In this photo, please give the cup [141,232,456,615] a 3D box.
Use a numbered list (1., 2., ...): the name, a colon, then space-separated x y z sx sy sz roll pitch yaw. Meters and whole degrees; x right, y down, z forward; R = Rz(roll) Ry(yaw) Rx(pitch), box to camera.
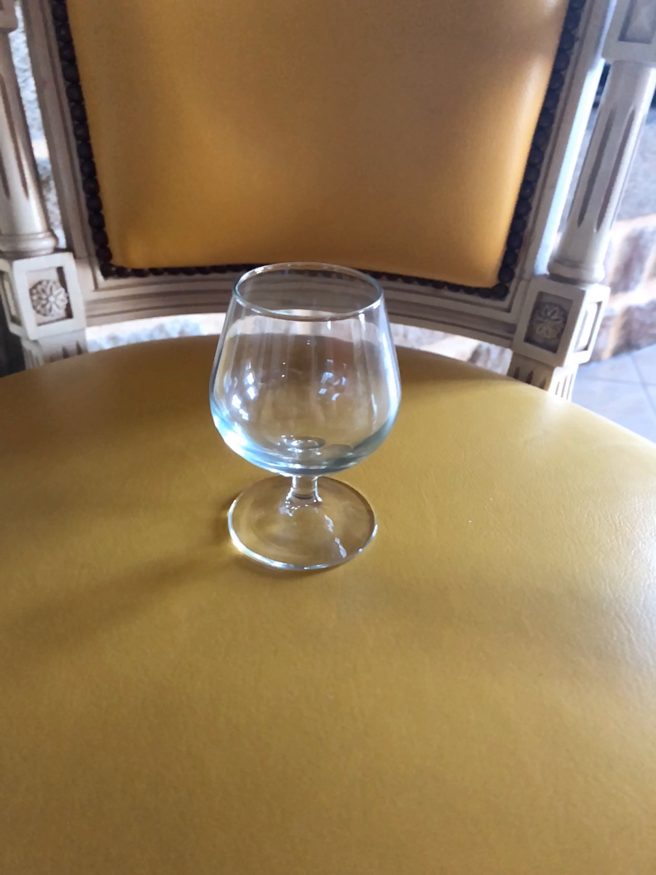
1. cup: -0.006 -0.010 0.245 0.070 0.089 0.081 13 32 17
